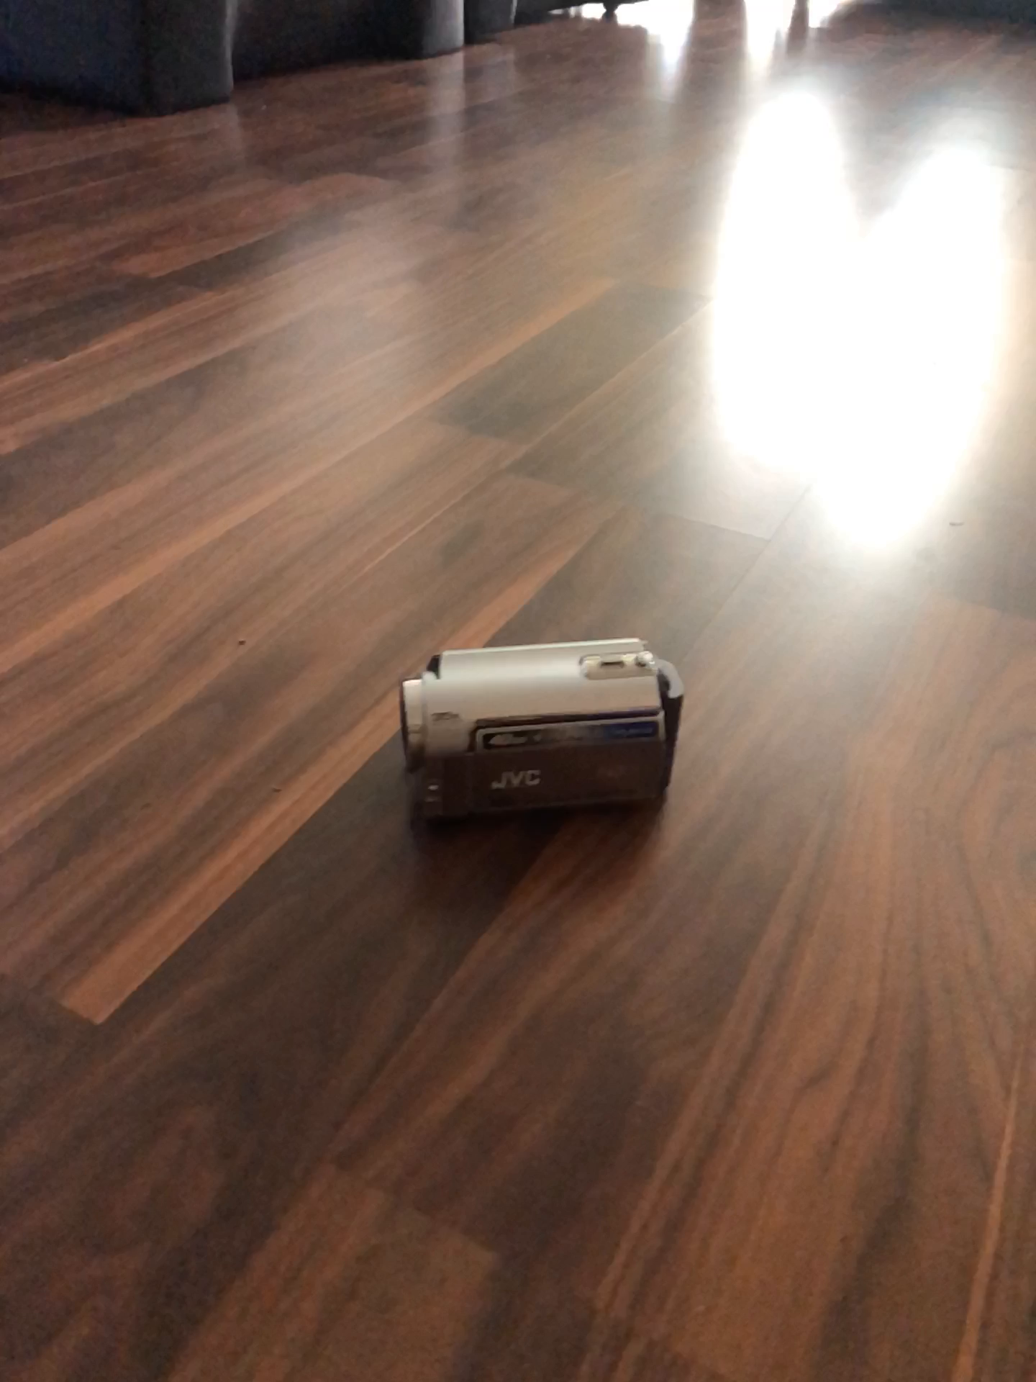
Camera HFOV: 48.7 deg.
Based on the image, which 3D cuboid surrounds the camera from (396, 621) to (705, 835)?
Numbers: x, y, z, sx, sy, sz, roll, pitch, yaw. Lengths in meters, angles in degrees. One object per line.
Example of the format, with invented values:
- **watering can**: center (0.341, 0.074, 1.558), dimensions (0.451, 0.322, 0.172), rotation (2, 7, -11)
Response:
- **camera**: center (0.011, 0.015, 0.493), dimensions (0.120, 0.060, 0.060), rotation (-4, 36, -8)
